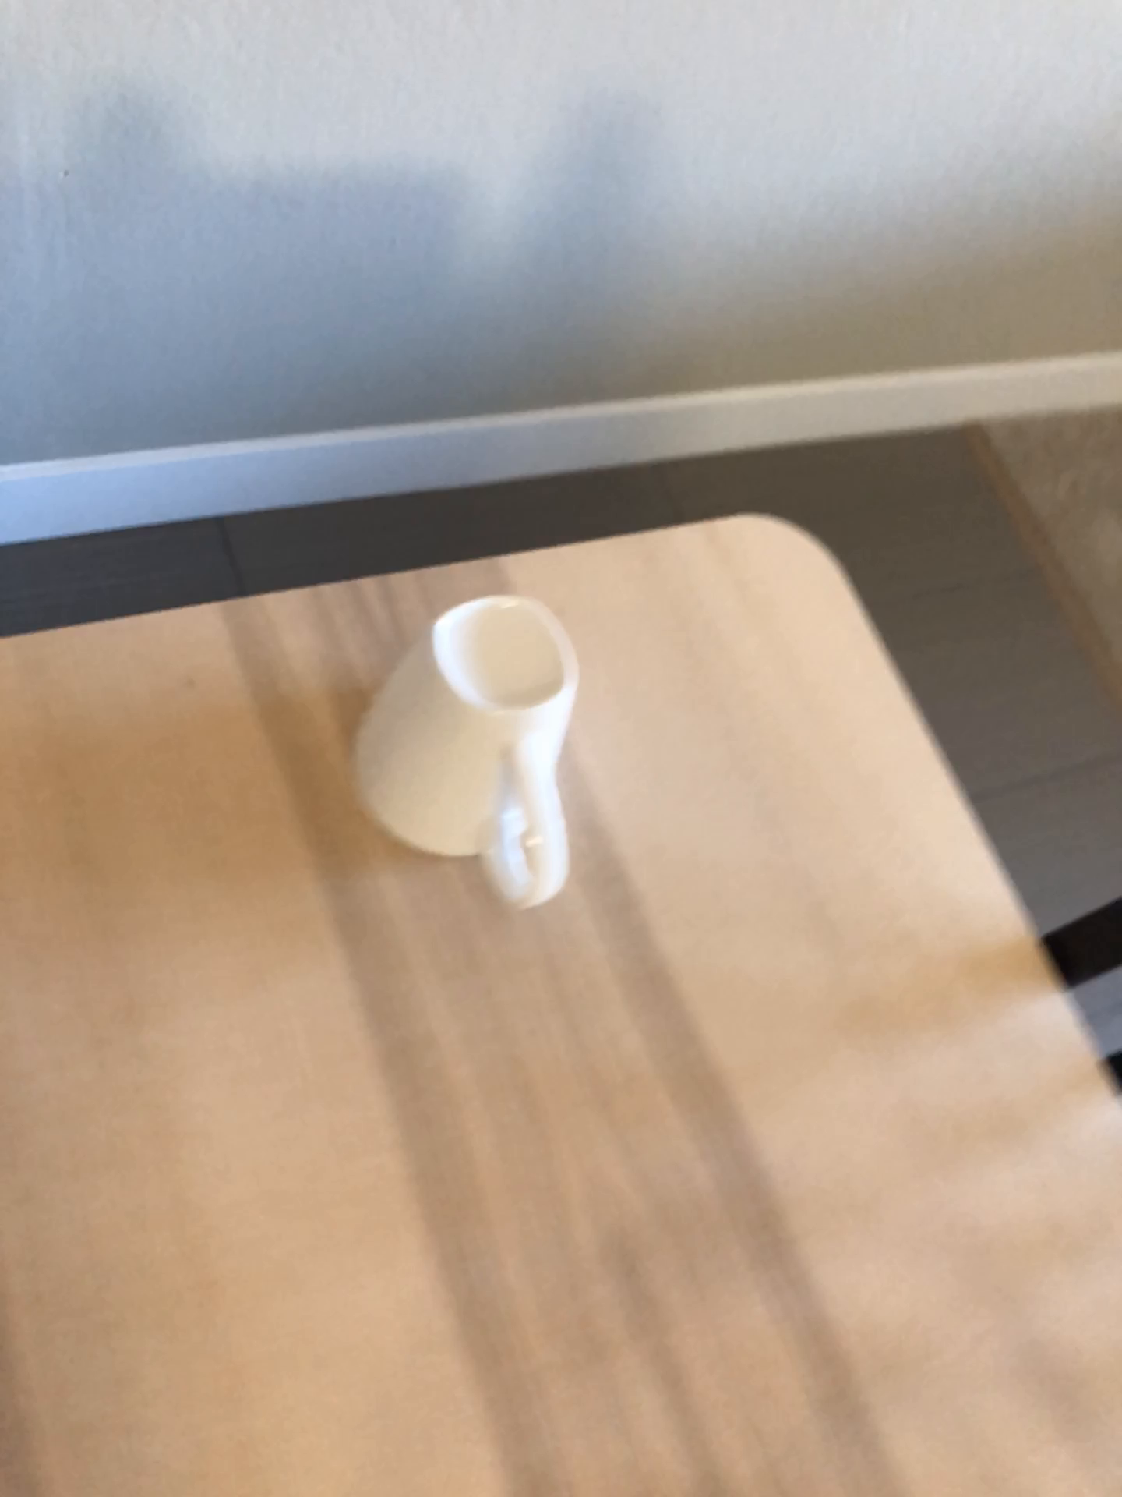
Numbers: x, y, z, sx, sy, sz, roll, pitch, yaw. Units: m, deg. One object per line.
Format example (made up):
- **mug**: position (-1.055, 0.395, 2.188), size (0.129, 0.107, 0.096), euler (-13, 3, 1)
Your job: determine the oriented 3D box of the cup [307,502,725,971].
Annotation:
- **cup**: position (-0.028, -0.004, 0.540), size (0.100, 0.120, 0.140), euler (-19, 70, -28)
